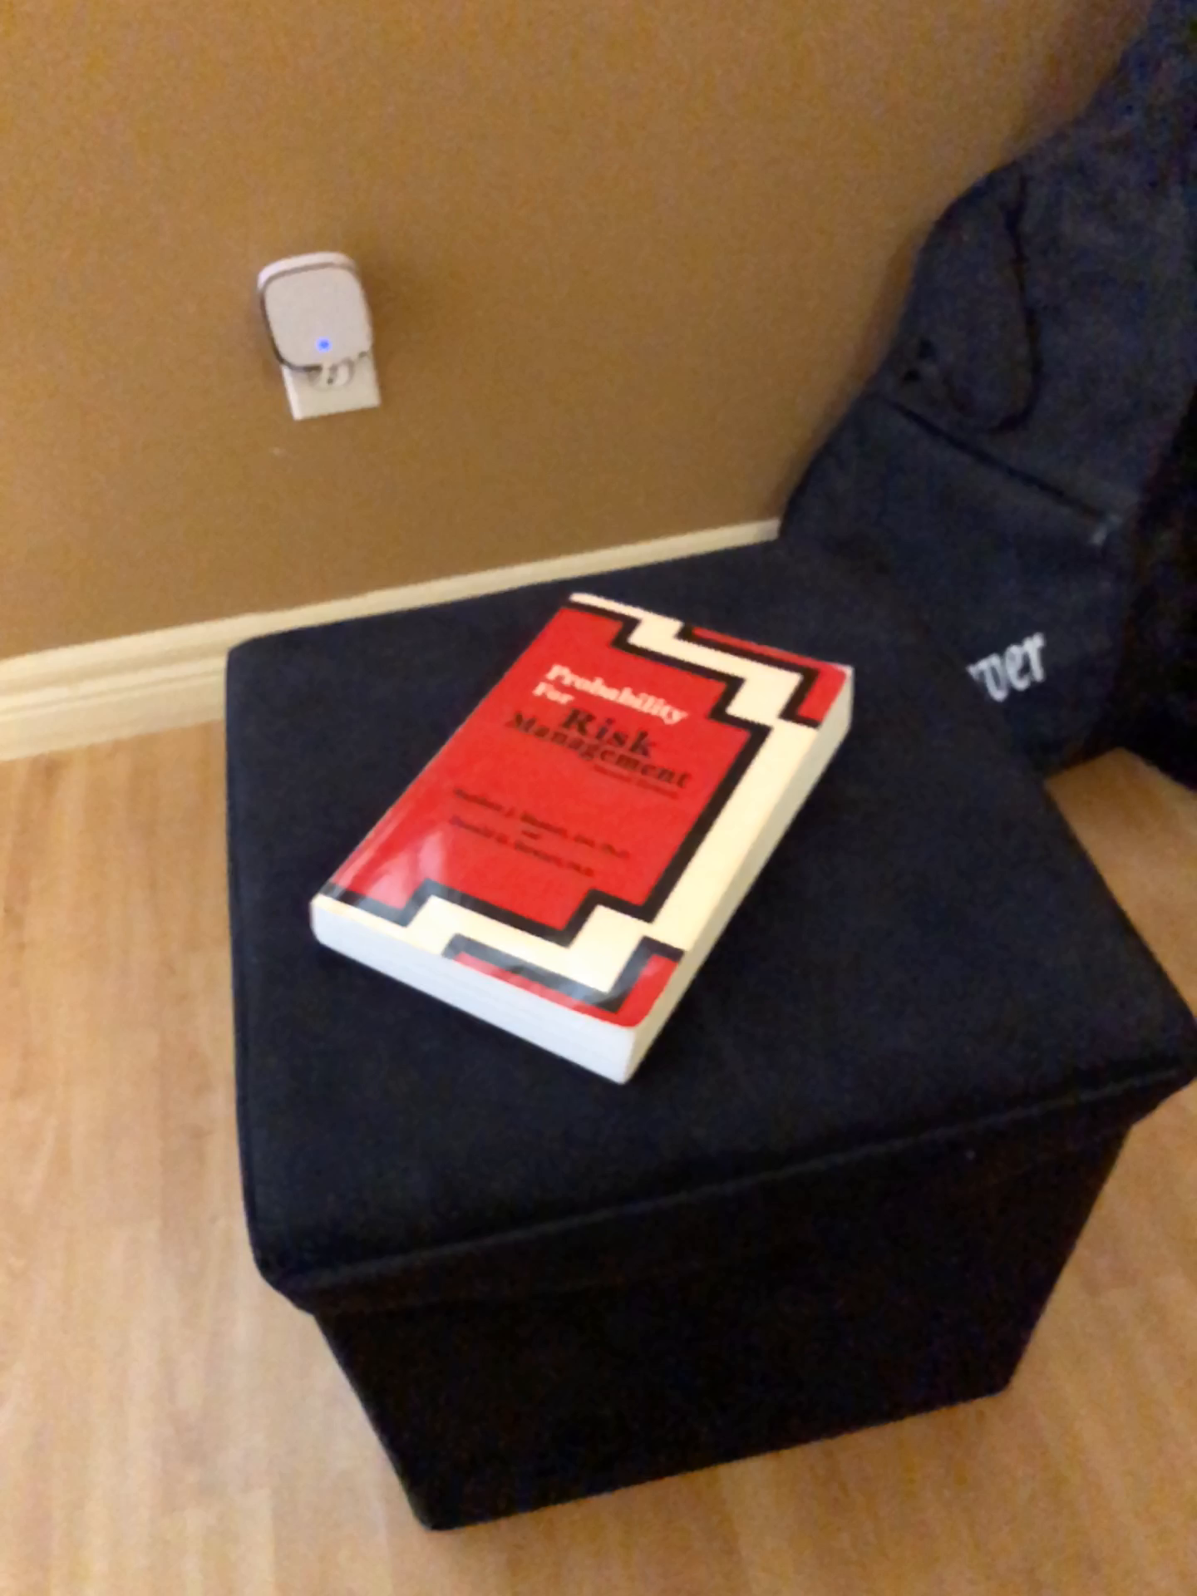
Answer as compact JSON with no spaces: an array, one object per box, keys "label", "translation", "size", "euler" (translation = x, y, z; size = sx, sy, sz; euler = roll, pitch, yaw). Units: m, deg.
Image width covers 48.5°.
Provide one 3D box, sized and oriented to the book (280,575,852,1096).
[{"label":"book","translation":[-0.005,0.001,0.567],"size":[0.150,0.041,0.216],"euler":[21,51,21]}]
